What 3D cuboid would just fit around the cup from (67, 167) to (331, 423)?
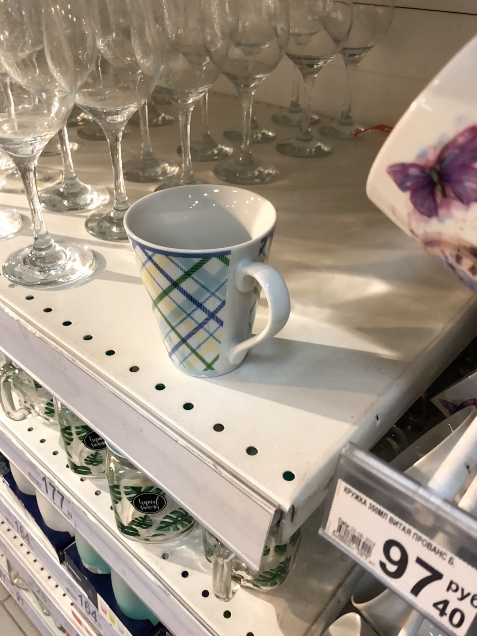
[{"bbox_3d":[-0.023,-0.022,0.311,0.116,0.085,0.088,30,46,35],"label":"cup"}]
